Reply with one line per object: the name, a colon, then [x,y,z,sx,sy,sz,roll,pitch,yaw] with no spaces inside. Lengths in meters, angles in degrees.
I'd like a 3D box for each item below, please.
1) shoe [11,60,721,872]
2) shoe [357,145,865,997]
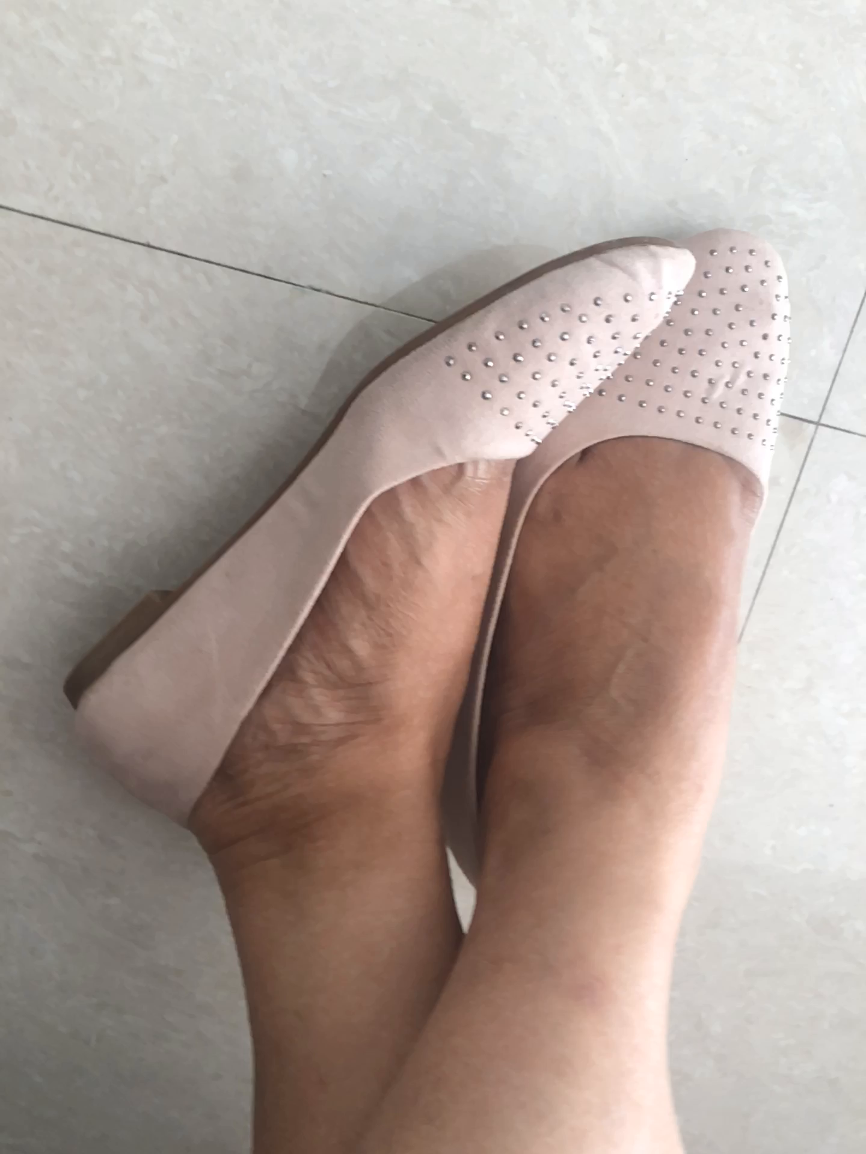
shoe: [-0.019,-0.021,0.306,0.060,0.090,0.240,44,103,19]
shoe: [0.065,0.006,0.348,0.100,0.080,0.270,17,104,-13]
